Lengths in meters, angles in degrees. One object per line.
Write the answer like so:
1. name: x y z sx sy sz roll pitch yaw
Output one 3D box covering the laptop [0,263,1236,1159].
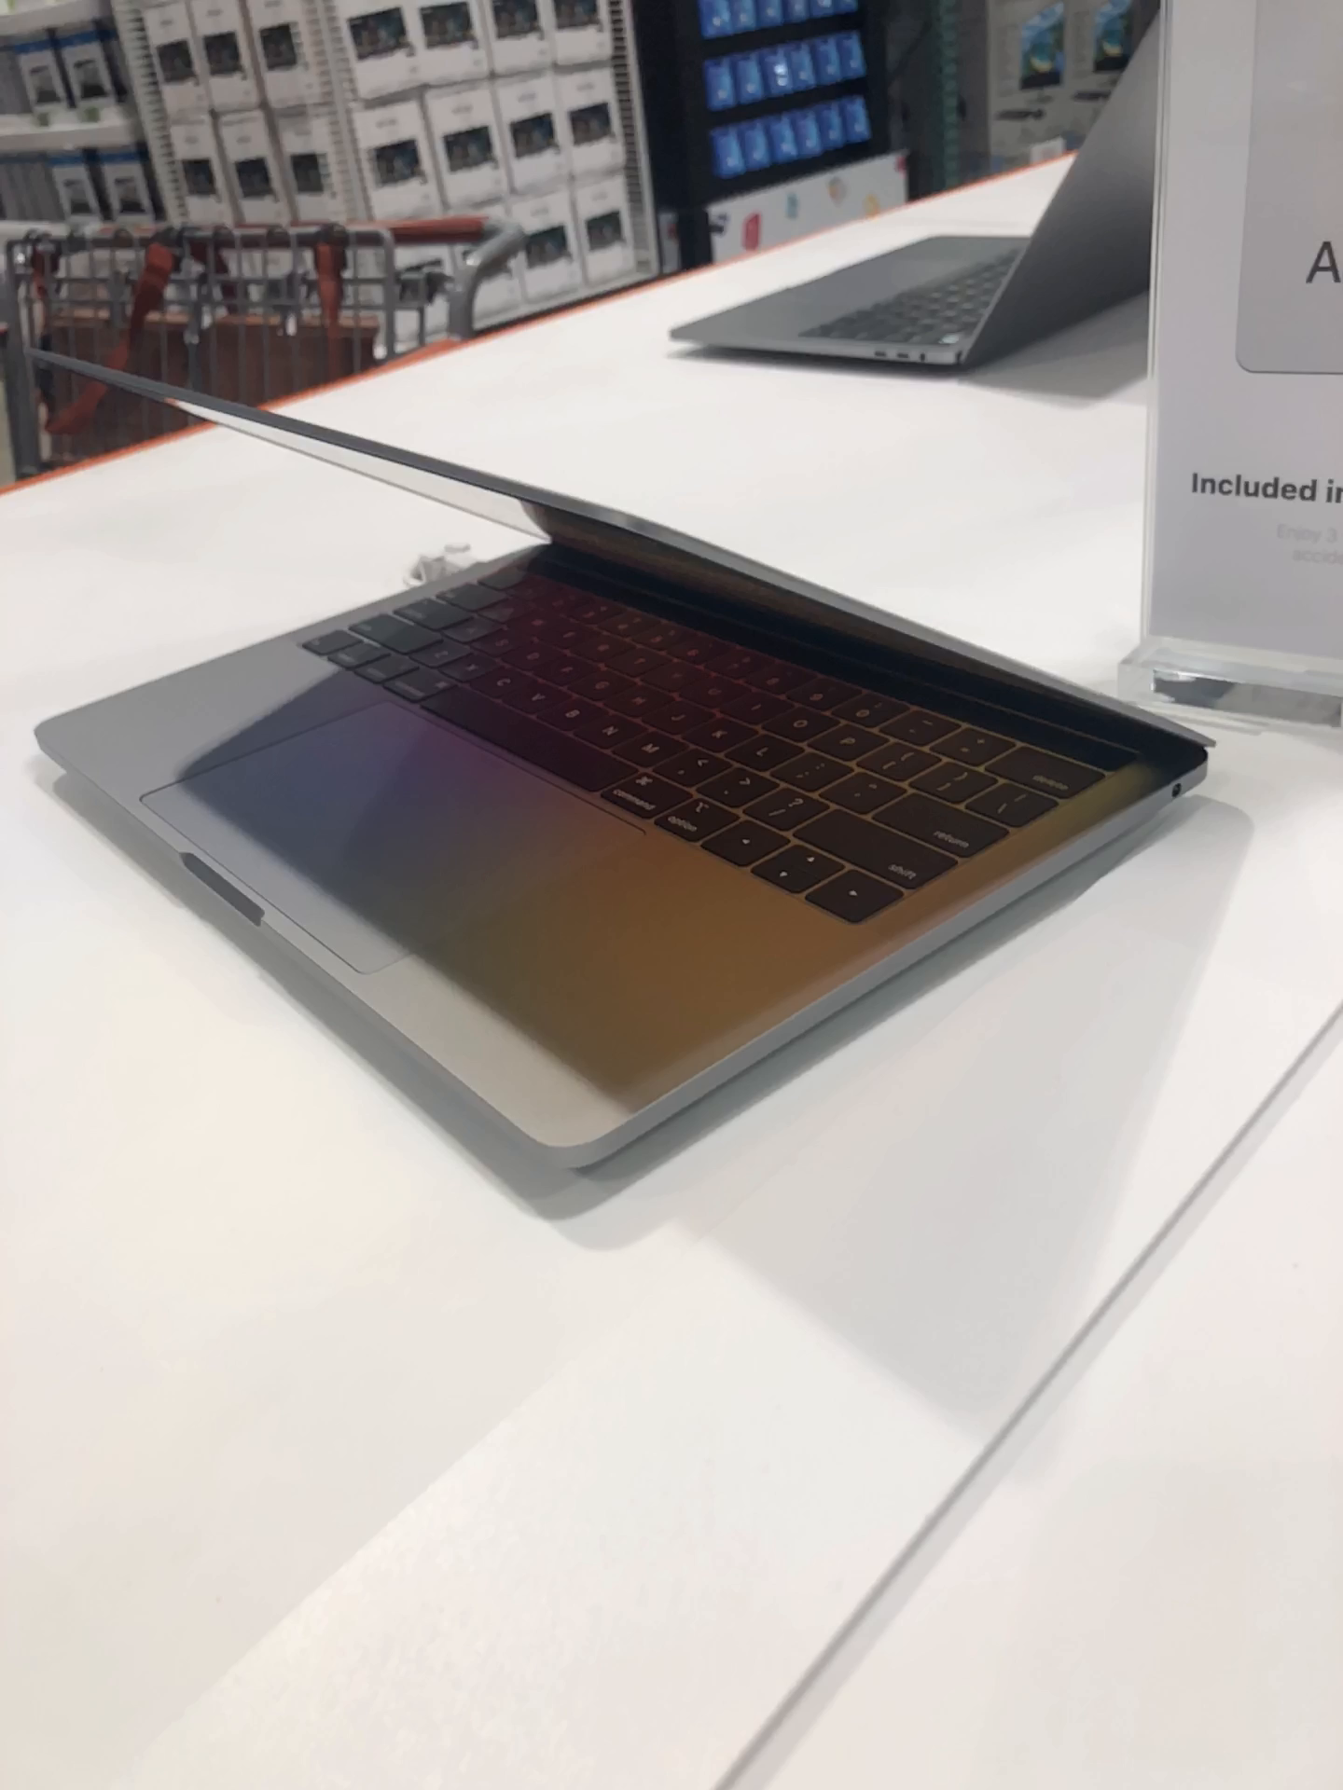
1. laptop: -0.042 -0.090 0.413 0.210 0.109 0.298 -27 37 -30
